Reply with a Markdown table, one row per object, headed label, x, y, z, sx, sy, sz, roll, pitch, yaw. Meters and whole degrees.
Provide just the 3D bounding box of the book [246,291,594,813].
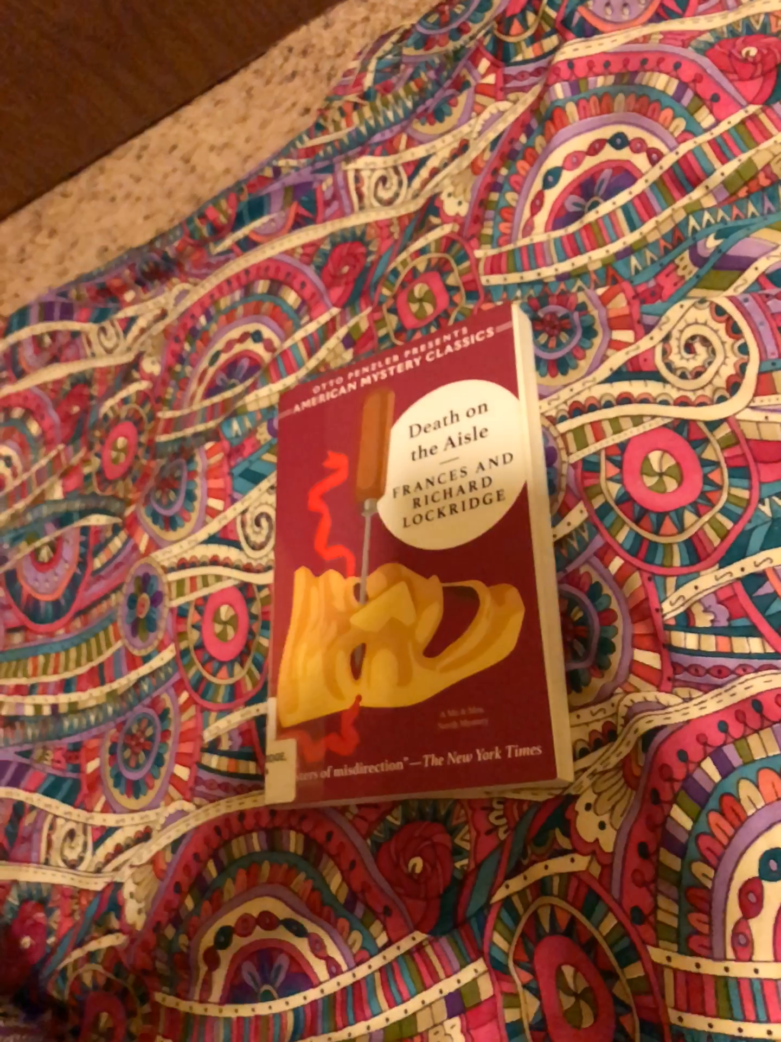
| label | x | y | z | sx | sy | sz | roll | pitch | yaw |
| --- | --- | --- | --- | --- | --- | --- | --- | --- | --- |
| book | 0.004 | 0.014 | 0.365 | 0.138 | 0.024 | 0.196 | -15 | 64 | 29 |
